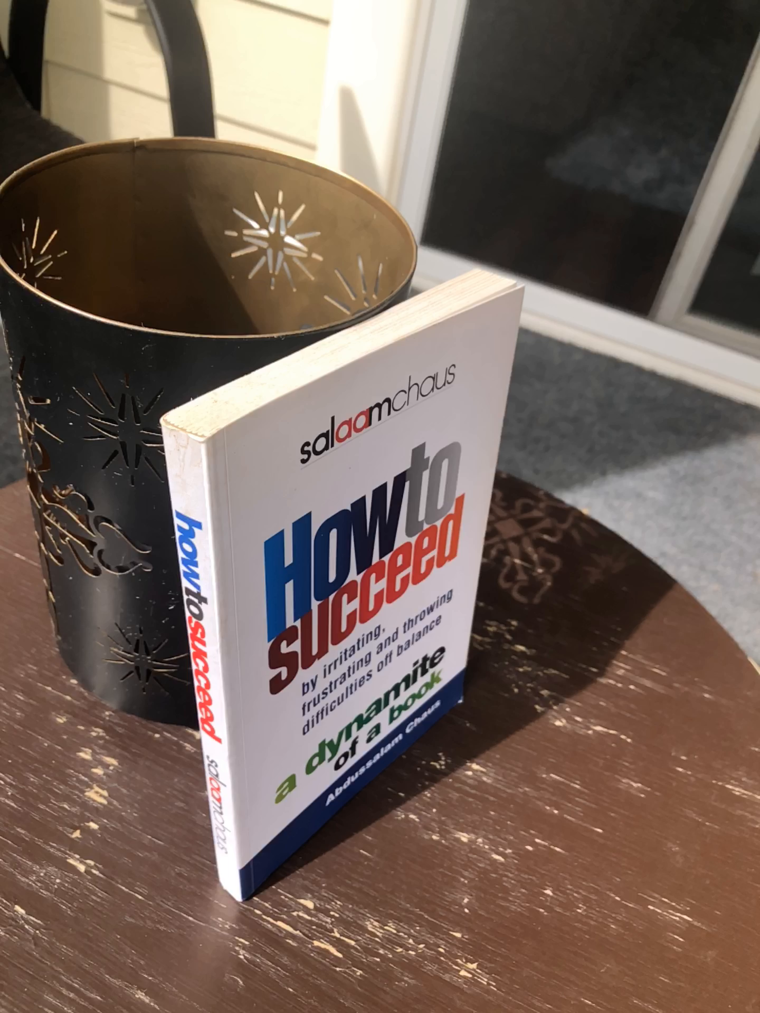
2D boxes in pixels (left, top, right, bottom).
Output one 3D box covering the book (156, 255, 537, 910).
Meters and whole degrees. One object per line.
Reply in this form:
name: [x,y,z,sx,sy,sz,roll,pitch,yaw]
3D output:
book: [-0.006,0.032,0.300,0.018,0.207,0.139,29,43,30]
